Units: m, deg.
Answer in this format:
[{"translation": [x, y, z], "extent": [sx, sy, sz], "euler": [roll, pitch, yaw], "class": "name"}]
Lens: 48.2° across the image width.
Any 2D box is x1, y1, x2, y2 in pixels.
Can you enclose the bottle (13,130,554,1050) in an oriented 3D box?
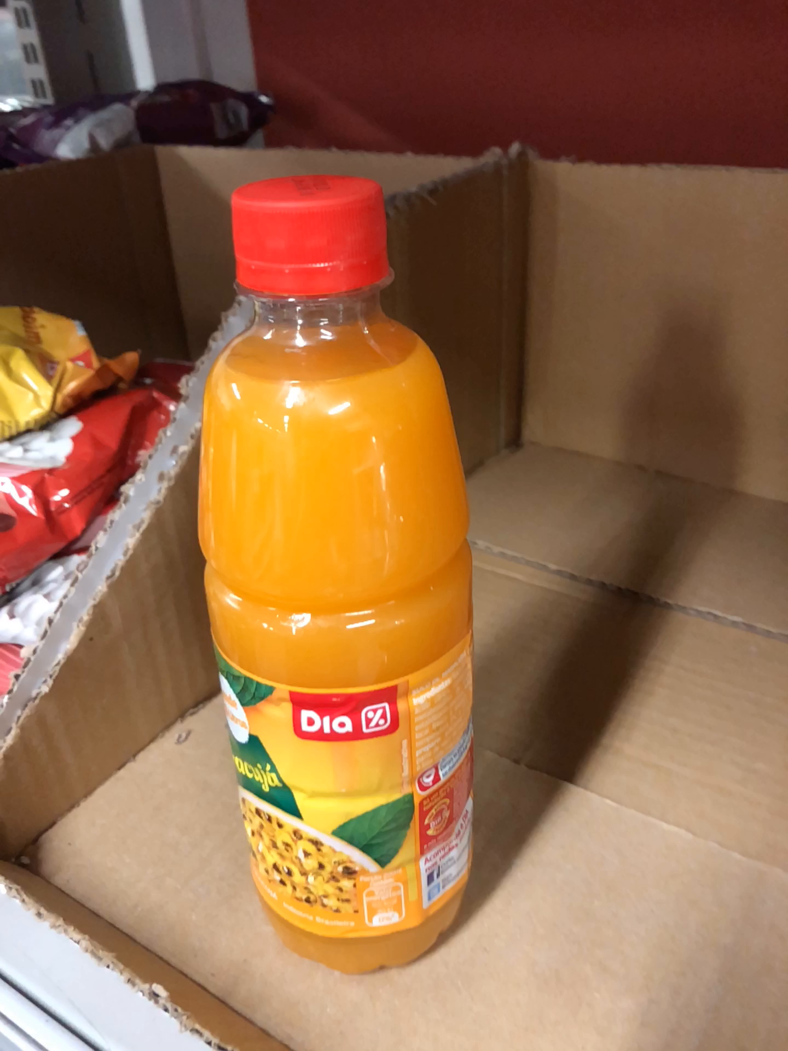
[{"translation": [-0.015, 0.020, 0.211], "extent": [0.070, 0.198, 0.070], "euler": [-3, 30, 2], "class": "bottle"}]
